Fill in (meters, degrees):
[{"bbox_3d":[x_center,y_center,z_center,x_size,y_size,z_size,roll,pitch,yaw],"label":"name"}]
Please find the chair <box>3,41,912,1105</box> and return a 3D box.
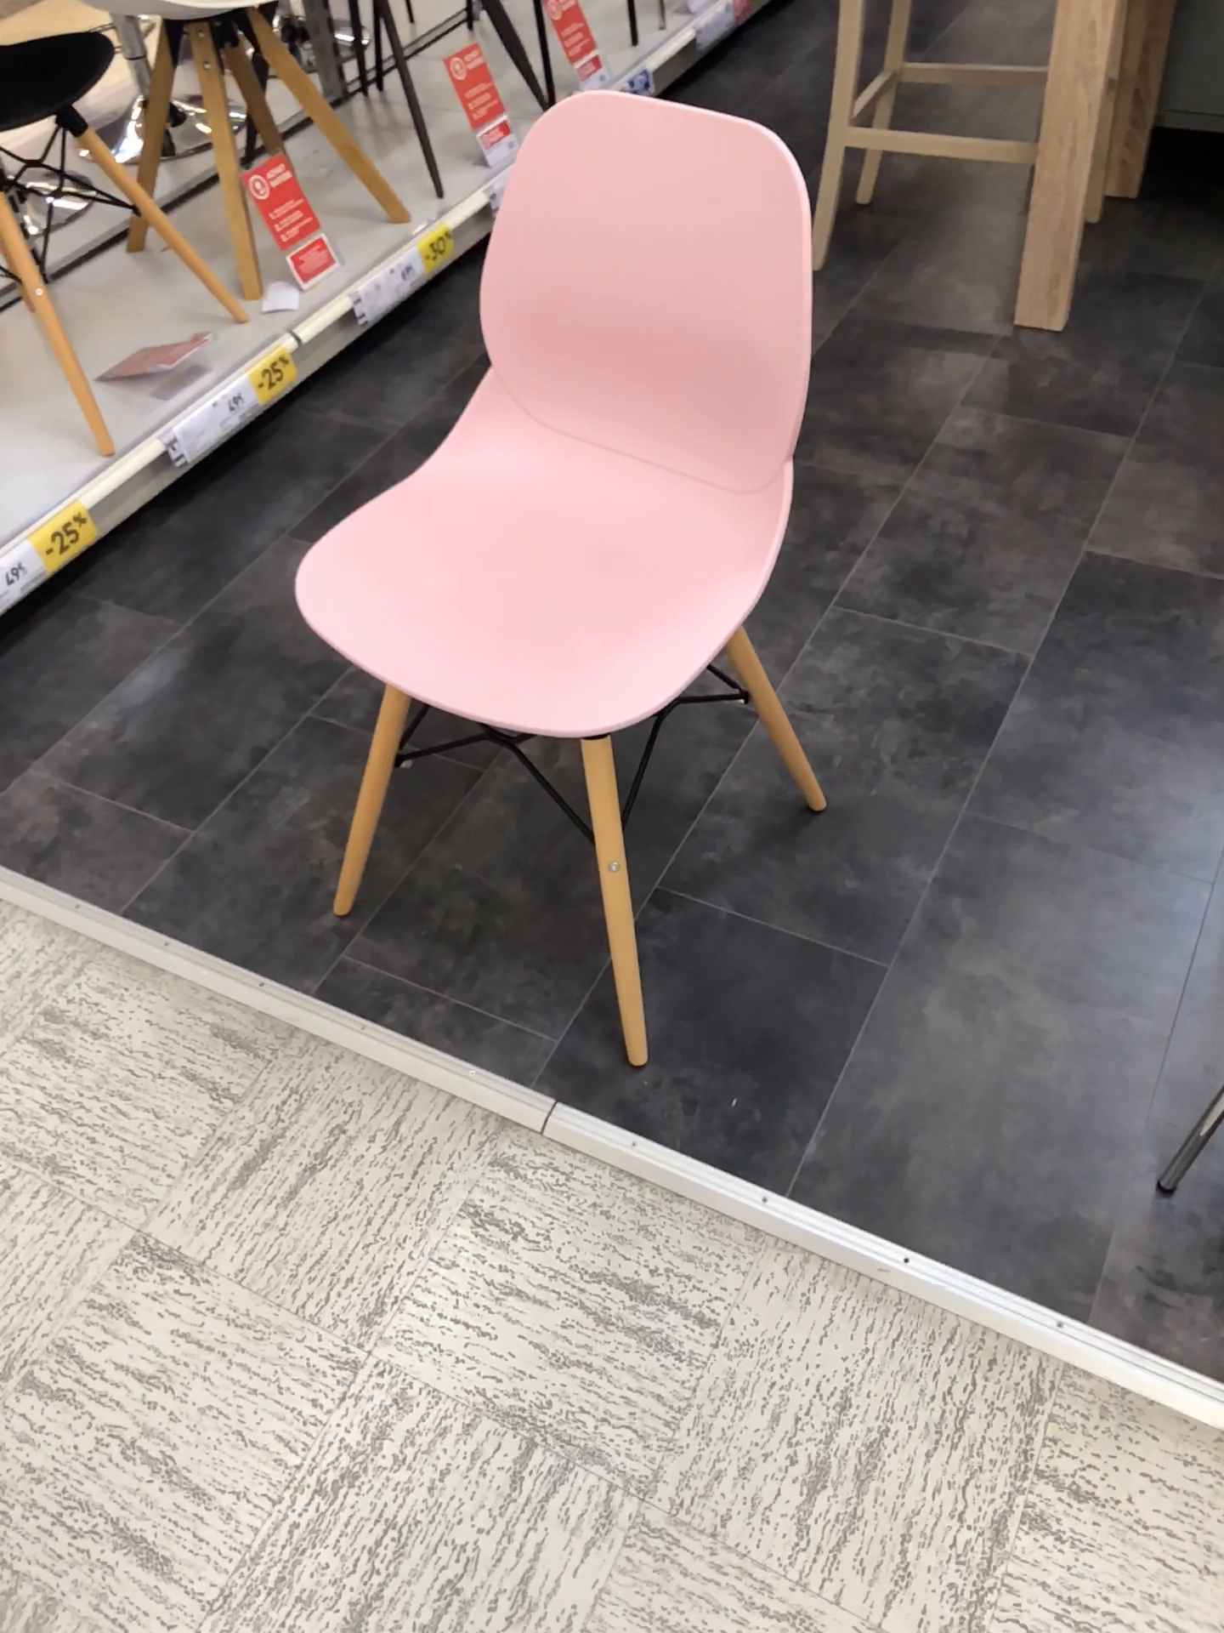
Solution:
[{"bbox_3d":[-0.088,-0.246,1.440,0.552,0.847,0.552,23,53,25],"label":"chair"}]
